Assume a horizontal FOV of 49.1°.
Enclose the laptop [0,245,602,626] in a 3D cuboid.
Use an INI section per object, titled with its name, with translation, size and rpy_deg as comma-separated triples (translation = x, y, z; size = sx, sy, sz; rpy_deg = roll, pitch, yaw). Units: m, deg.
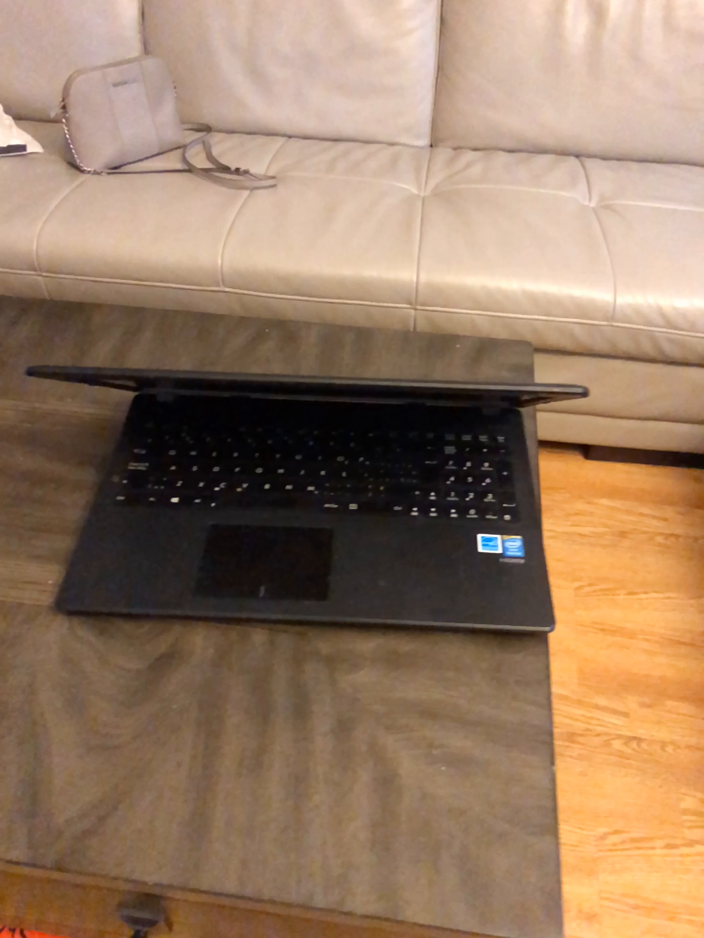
[laptop]
translation = -0.031, -0.035, 0.610
size = 0.372, 0.164, 0.239
rpy_deg = 3, 45, 2
